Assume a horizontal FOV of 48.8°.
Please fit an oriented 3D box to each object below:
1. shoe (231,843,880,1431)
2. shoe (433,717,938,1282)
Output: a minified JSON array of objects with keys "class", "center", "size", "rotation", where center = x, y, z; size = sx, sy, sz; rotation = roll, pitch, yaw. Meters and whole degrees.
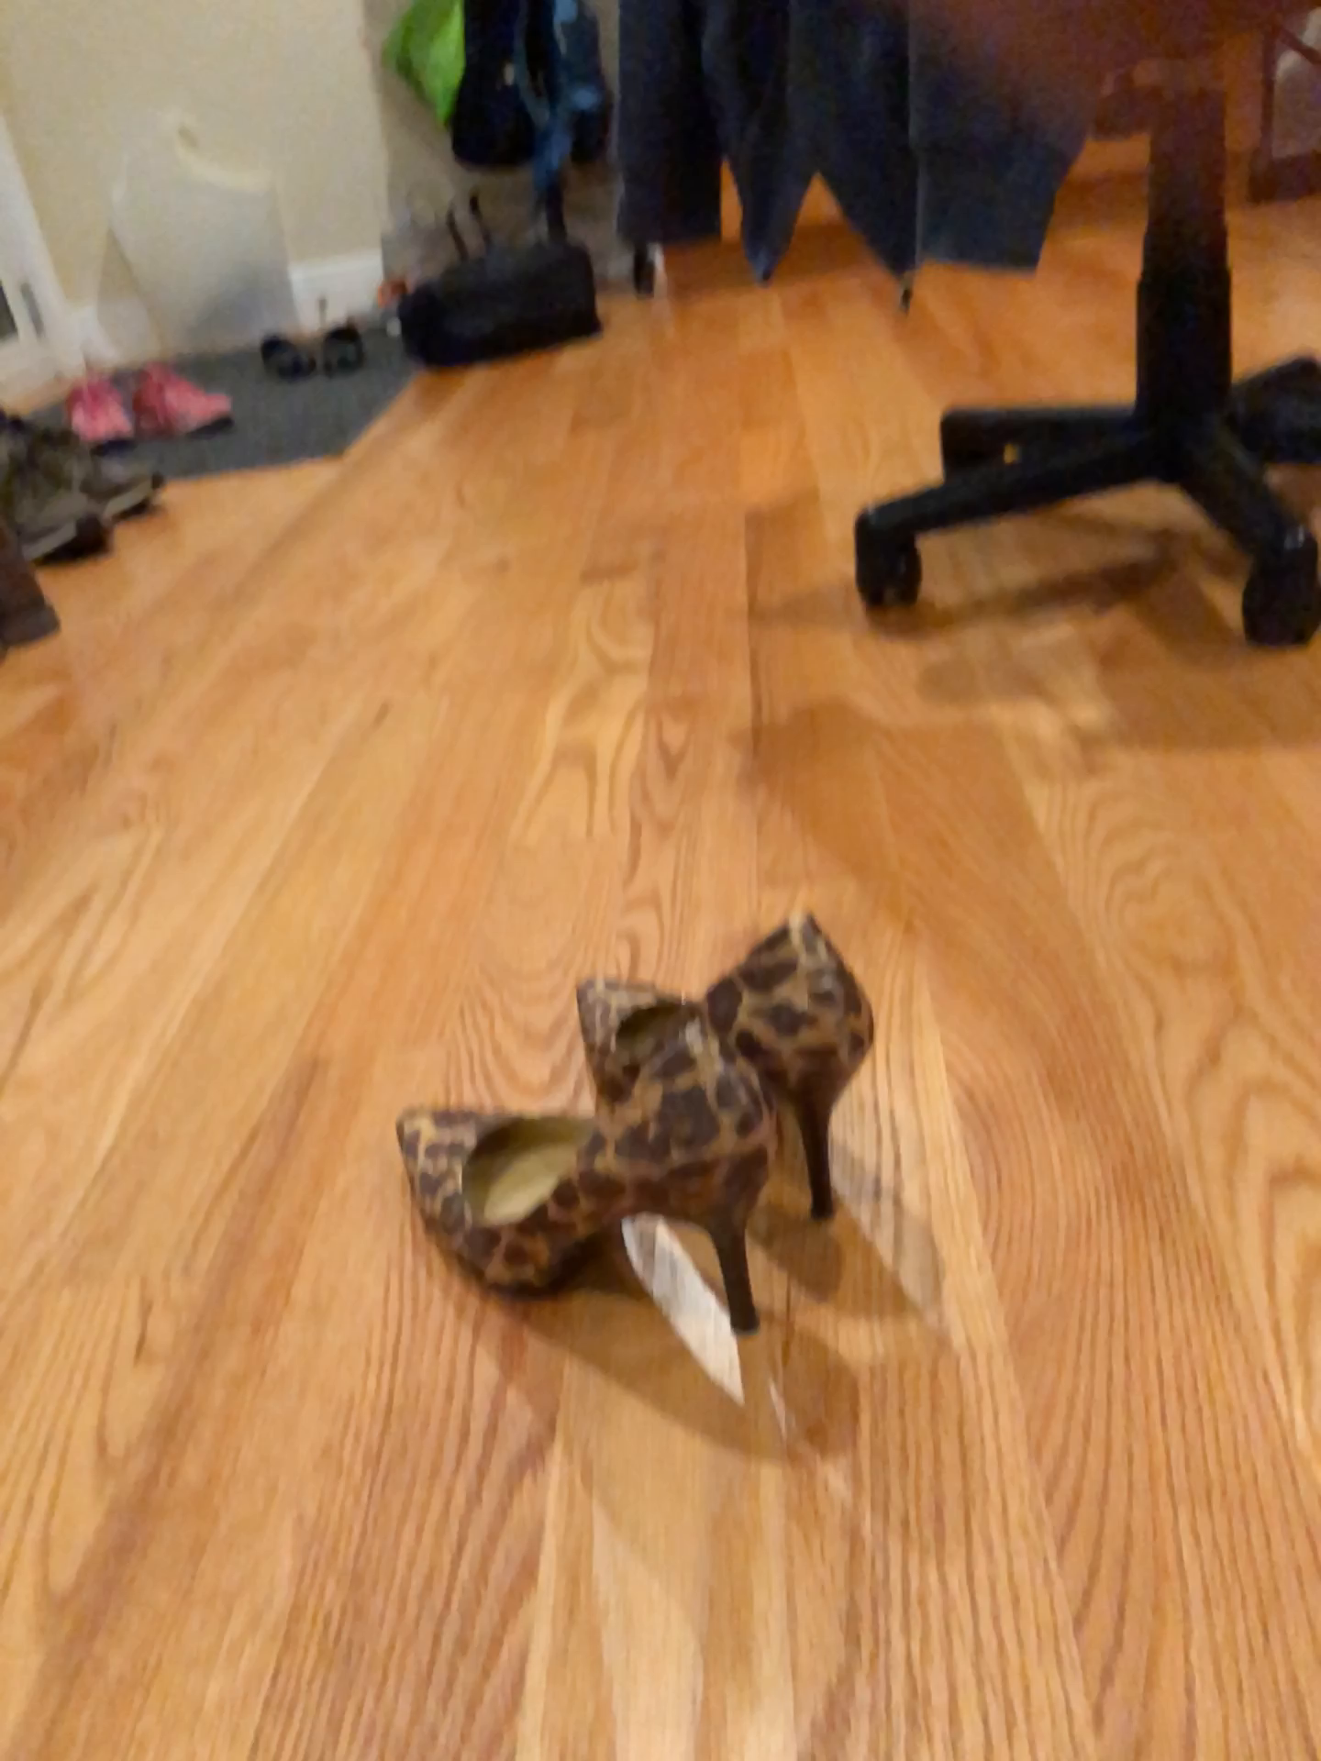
[{"class":"shoe","center":[-0.042,0.083,0.542],"size":[0.228,0.137,0.076],"rotation":[14,36,38]},{"class":"shoe","center":[0.003,0.035,0.598],"size":[0.076,0.135,0.228],"rotation":[-24,31,-24]}]
